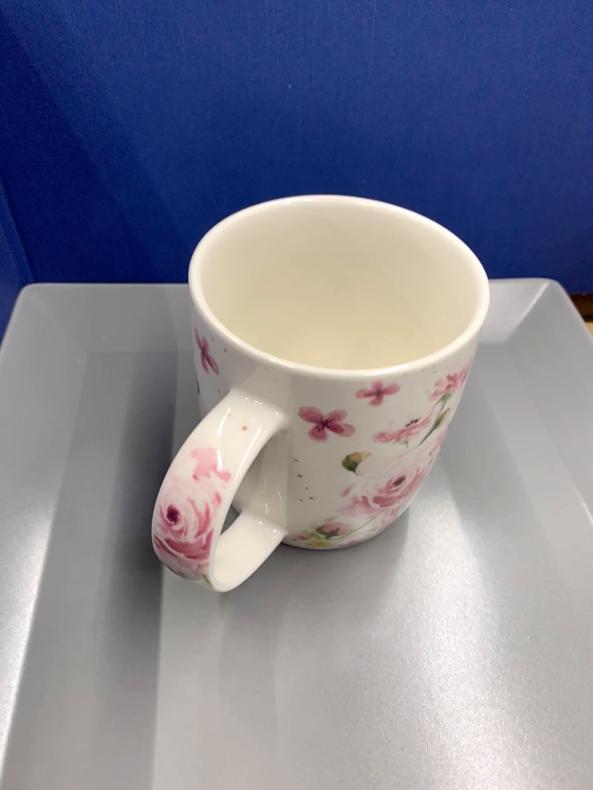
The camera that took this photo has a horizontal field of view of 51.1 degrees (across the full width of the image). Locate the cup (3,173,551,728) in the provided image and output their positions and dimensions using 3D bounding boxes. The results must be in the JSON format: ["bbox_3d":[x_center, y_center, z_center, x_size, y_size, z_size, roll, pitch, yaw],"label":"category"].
[{"bbox_3d":[0.001,0.007,0.181,0.085,0.087,0.110,27,49,25],"label":"cup"}]
